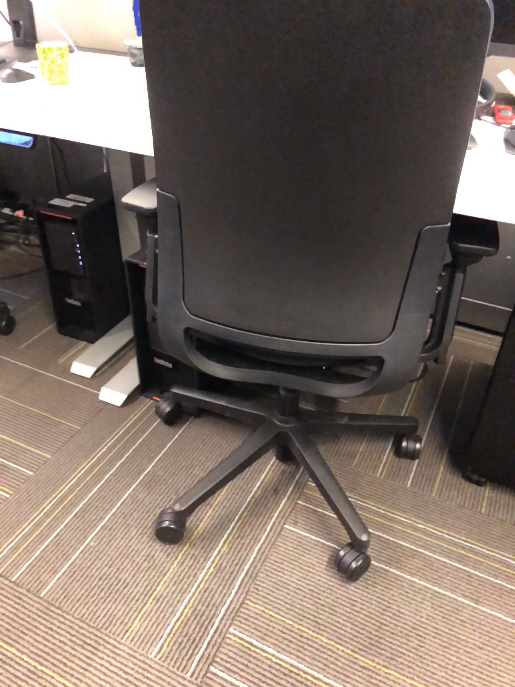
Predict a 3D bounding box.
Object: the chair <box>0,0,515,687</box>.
[{"bbox_3d":[0.009,-0.112,1.038,0.781,1.014,0.663,16,38,20],"label":"chair"}]
